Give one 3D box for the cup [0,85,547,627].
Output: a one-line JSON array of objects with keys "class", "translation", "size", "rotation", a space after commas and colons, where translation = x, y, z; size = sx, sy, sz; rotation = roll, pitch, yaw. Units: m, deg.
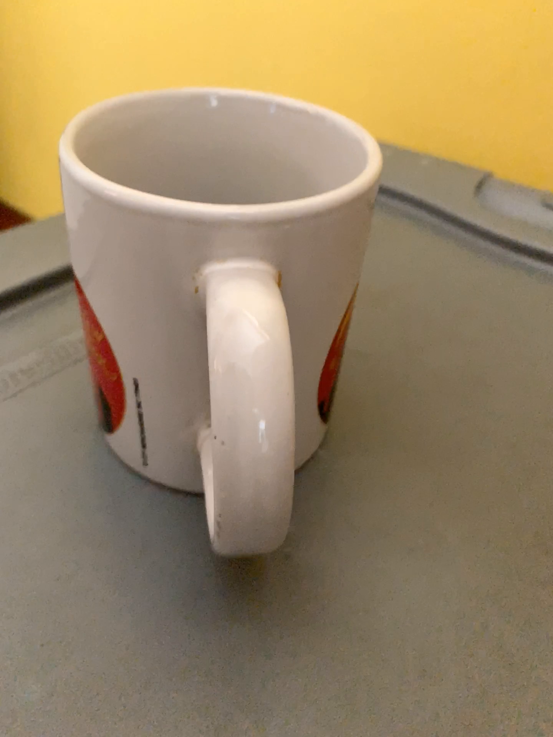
[{"class": "cup", "translation": [-0.012, -0.011, 0.171], "size": [0.097, 0.095, 0.119], "rotation": [-2, 41, -8]}]
